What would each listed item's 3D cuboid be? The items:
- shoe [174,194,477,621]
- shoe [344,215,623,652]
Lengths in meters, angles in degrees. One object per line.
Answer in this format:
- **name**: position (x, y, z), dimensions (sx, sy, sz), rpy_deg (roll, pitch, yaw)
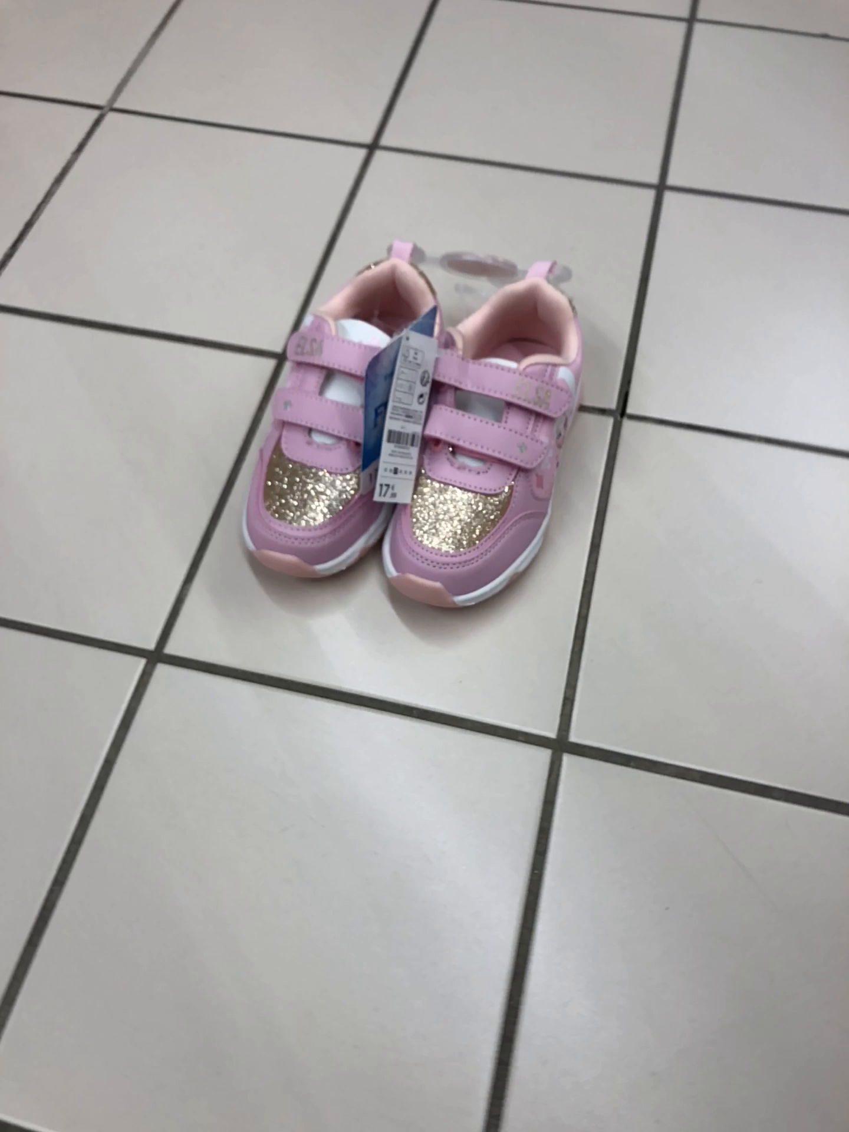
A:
- **shoe**: position (-0.040, -0.085, 0.484), dimensions (0.083, 0.087, 0.196), rpy_deg (14, 60, 9)
- **shoe**: position (0.034, -0.071, 0.475), dimensions (0.083, 0.087, 0.196), rpy_deg (14, 60, 9)
